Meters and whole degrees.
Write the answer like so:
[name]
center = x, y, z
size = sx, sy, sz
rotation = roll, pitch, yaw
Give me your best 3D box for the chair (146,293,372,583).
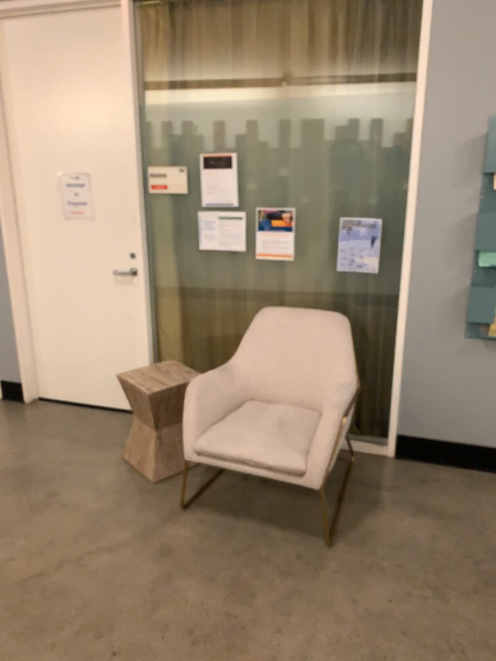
[chair]
center = 0.111, 0.398, 2.425
size = 0.781, 0.926, 0.873
rotation = 6, 17, 18
